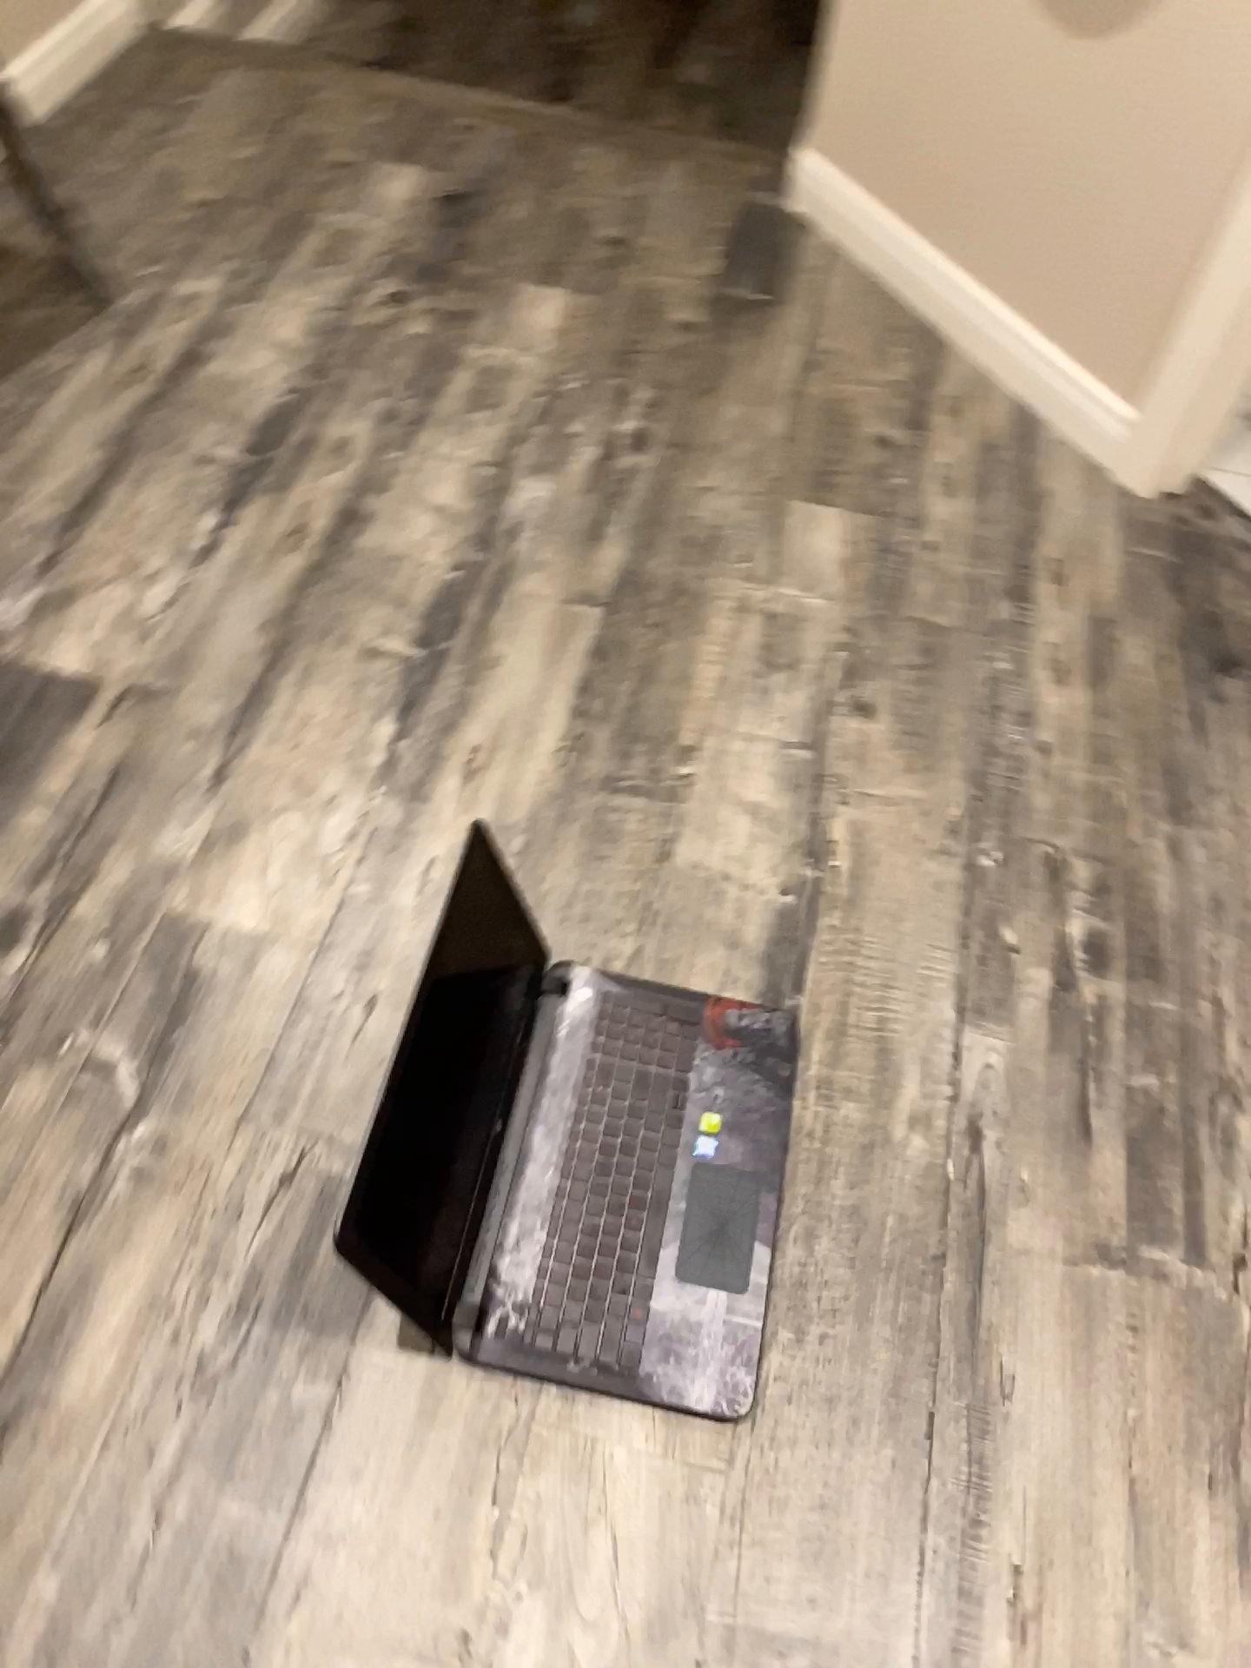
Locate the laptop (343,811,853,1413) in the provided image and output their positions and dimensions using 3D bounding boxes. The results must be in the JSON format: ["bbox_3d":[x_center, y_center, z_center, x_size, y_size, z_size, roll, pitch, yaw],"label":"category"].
[{"bbox_3d":[-0.010,0.228,1.065,0.327,0.225,0.372,12,54,2],"label":"laptop"}]
